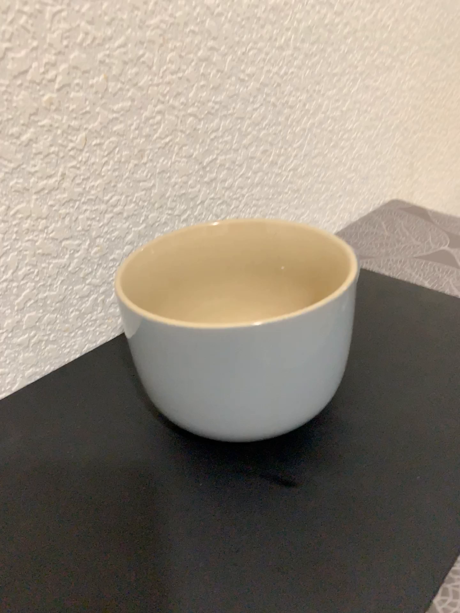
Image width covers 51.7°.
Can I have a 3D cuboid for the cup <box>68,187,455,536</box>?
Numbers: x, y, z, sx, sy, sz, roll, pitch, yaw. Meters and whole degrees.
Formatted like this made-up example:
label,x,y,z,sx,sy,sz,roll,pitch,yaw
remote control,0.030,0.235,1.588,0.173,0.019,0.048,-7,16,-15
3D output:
label,x,y,z,sx,sy,sz,roll,pitch,yaw
cup,0.016,0.008,0.232,0.133,0.079,0.111,-26,37,-31
